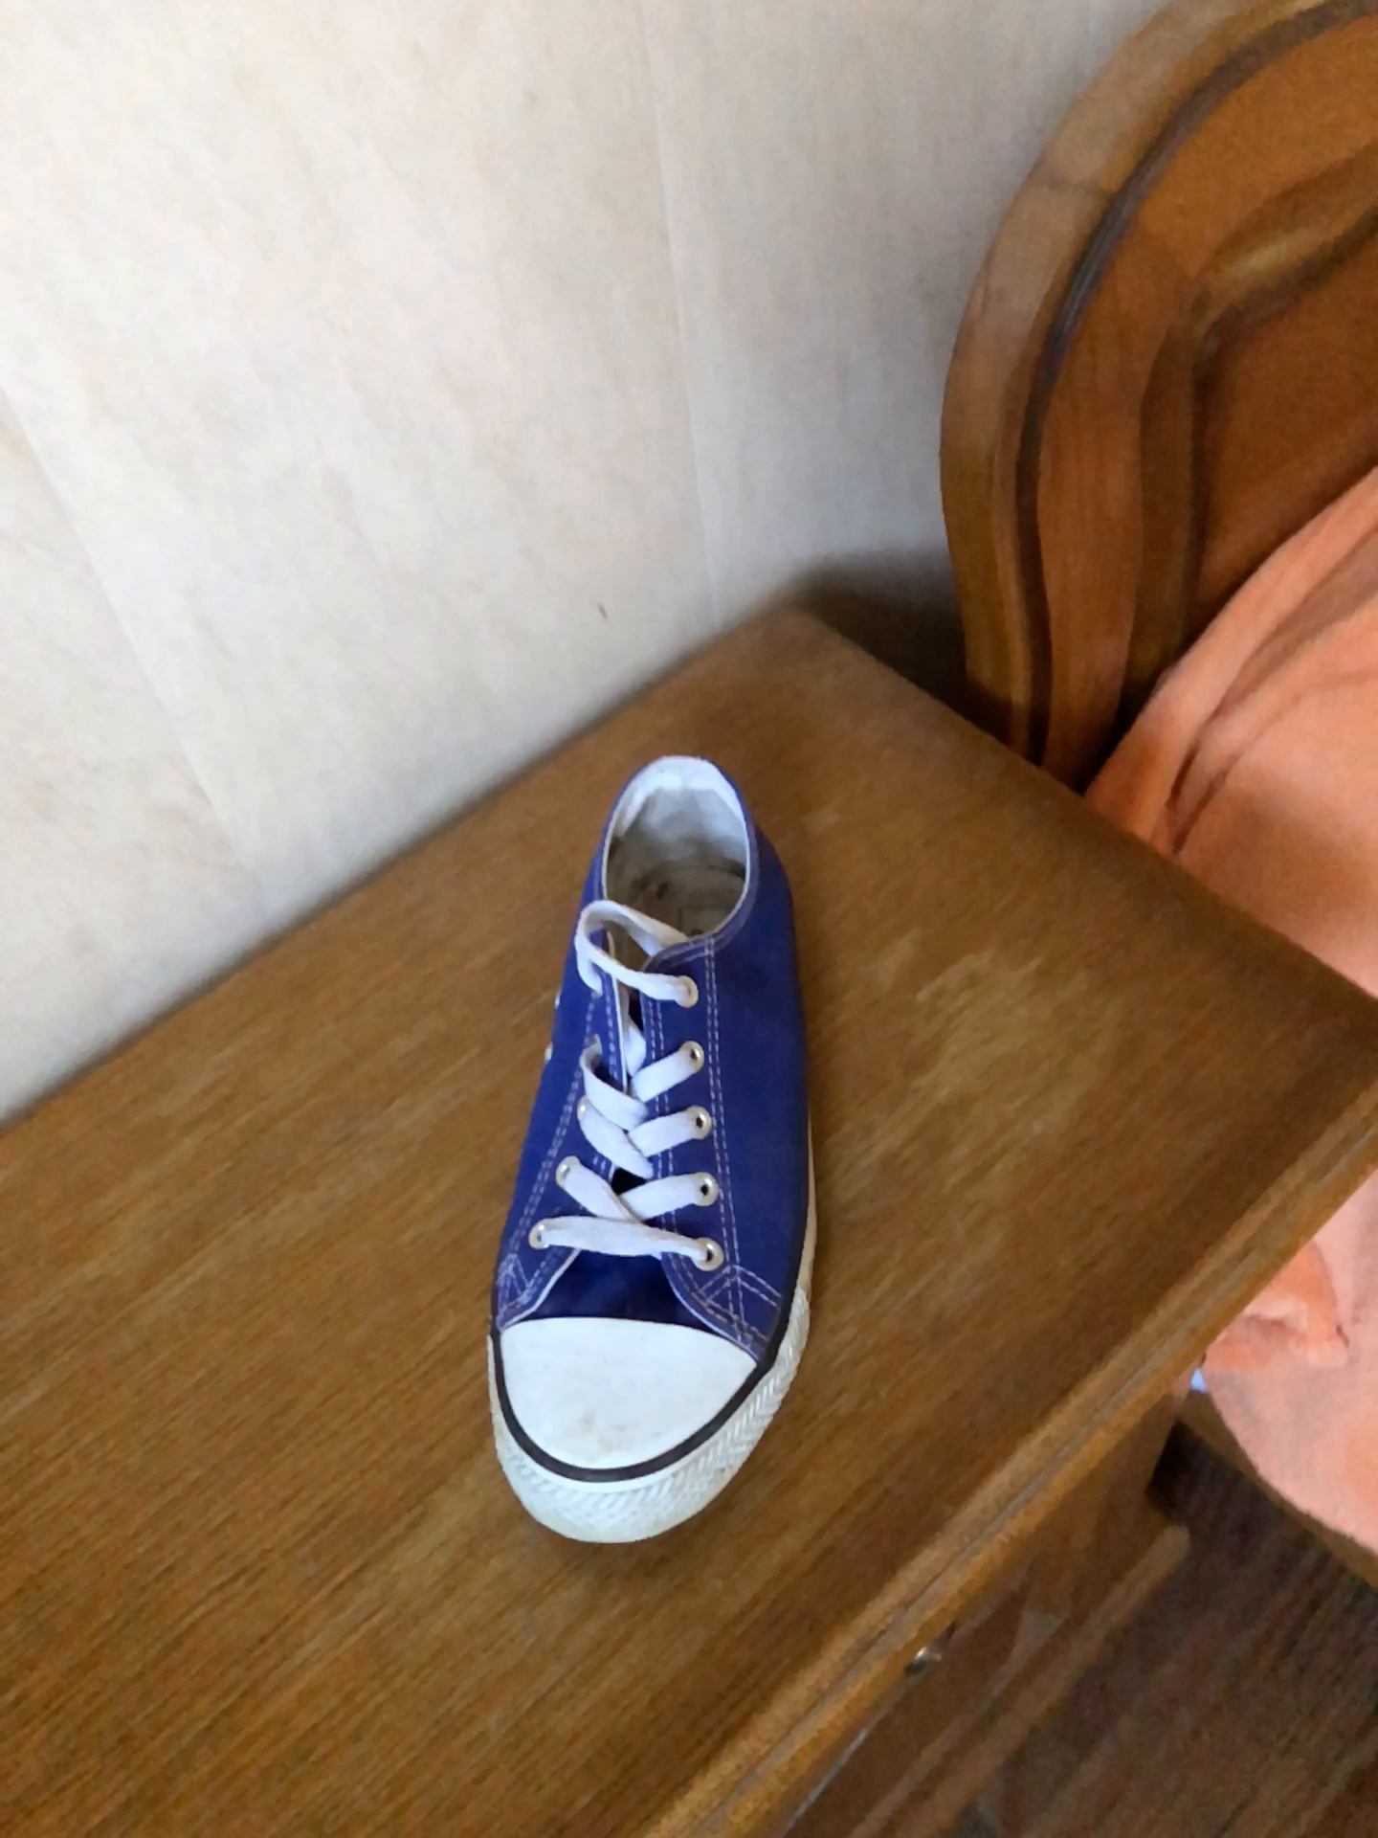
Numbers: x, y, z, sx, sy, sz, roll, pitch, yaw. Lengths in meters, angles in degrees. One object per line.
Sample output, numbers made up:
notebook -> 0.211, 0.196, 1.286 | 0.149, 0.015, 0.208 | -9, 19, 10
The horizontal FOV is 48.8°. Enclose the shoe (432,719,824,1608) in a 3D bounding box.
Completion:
shoe -> -0.007, 0.063, 0.473 | 0.090, 0.090, 0.262 | -2, 51, 6
